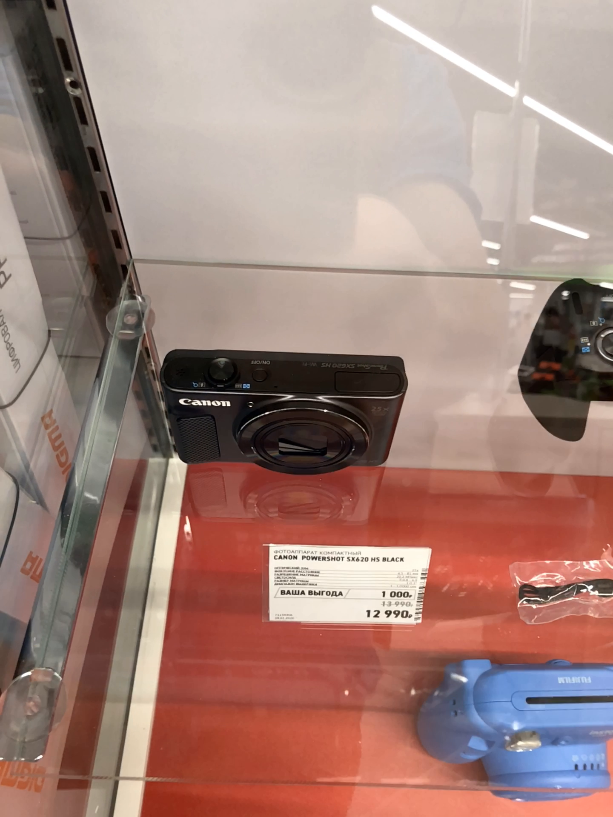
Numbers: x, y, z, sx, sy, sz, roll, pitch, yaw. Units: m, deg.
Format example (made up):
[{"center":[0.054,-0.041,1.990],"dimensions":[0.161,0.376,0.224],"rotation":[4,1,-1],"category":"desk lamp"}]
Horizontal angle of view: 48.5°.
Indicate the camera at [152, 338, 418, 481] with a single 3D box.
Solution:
[{"center":[-0.008,0.002,0.281],"dimensions":[0.098,0.055,0.030],"rotation":[2,57,0],"category":"camera"}]
